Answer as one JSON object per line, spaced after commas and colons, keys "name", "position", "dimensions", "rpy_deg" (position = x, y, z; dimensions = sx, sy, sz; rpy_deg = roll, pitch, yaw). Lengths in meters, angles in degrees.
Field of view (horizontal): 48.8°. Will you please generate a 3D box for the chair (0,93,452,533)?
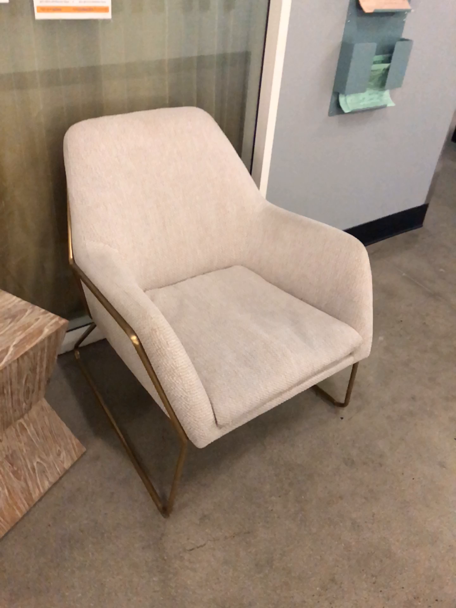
{"name": "chair", "position": [-0.063, -0.091, 1.562], "dimensions": [0.831, 0.816, 0.893], "rpy_deg": [-20, 42, -32]}
